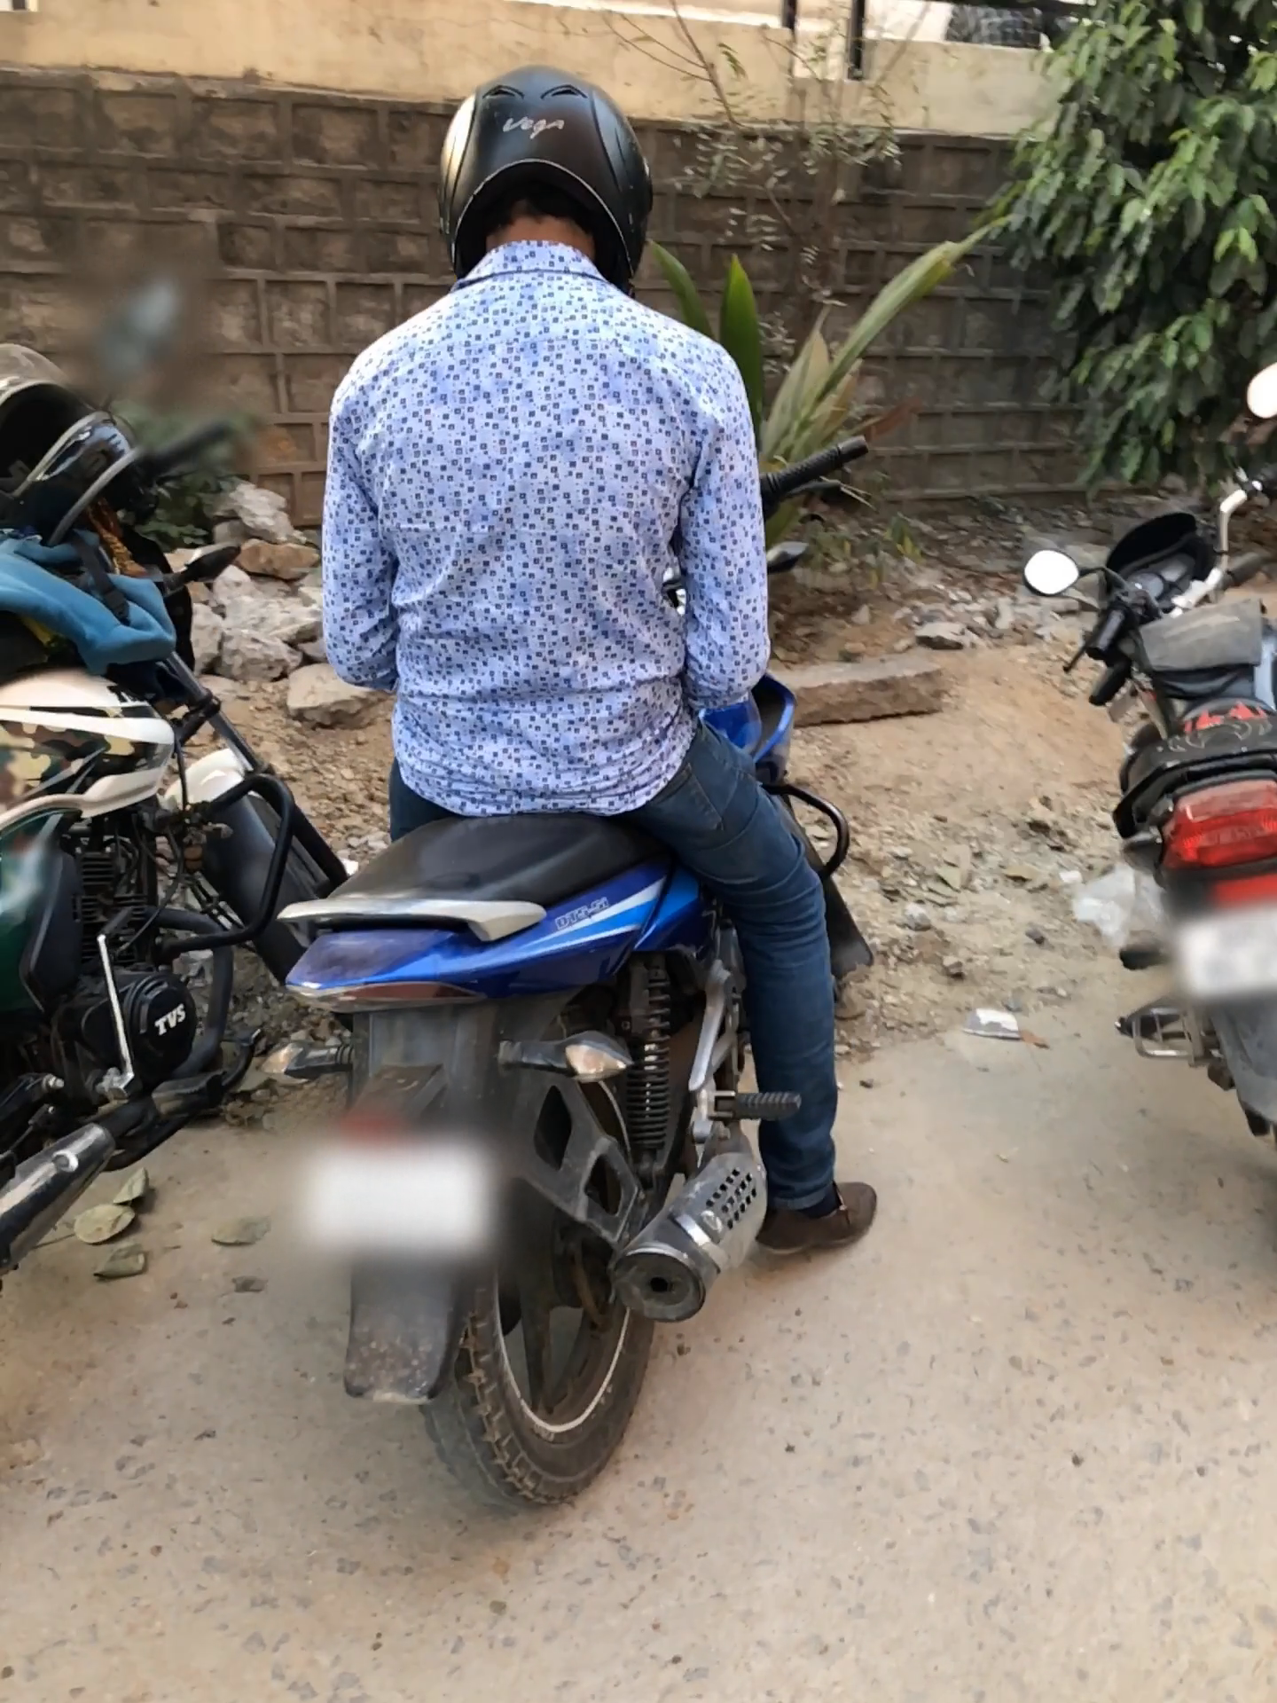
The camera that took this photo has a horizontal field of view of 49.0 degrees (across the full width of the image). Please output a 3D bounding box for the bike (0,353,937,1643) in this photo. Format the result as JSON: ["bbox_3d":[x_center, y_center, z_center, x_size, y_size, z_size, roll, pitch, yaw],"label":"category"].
[{"bbox_3d":[-0.048,-0.041,2.055,0.754,1.076,1.584,7,26,12],"label":"bike"}]
